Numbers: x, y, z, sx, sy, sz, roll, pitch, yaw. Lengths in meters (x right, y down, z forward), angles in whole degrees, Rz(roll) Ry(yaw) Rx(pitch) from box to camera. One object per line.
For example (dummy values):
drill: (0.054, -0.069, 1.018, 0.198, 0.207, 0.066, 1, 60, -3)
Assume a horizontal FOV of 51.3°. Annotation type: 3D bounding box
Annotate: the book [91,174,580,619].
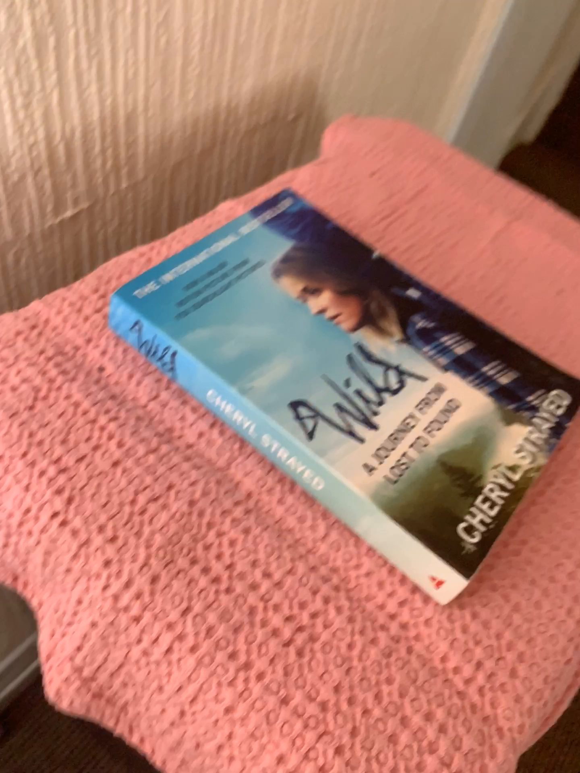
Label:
book: (0.029, -0.017, 0.298, 0.210, 0.030, 0.141, 39, 53, 17)
